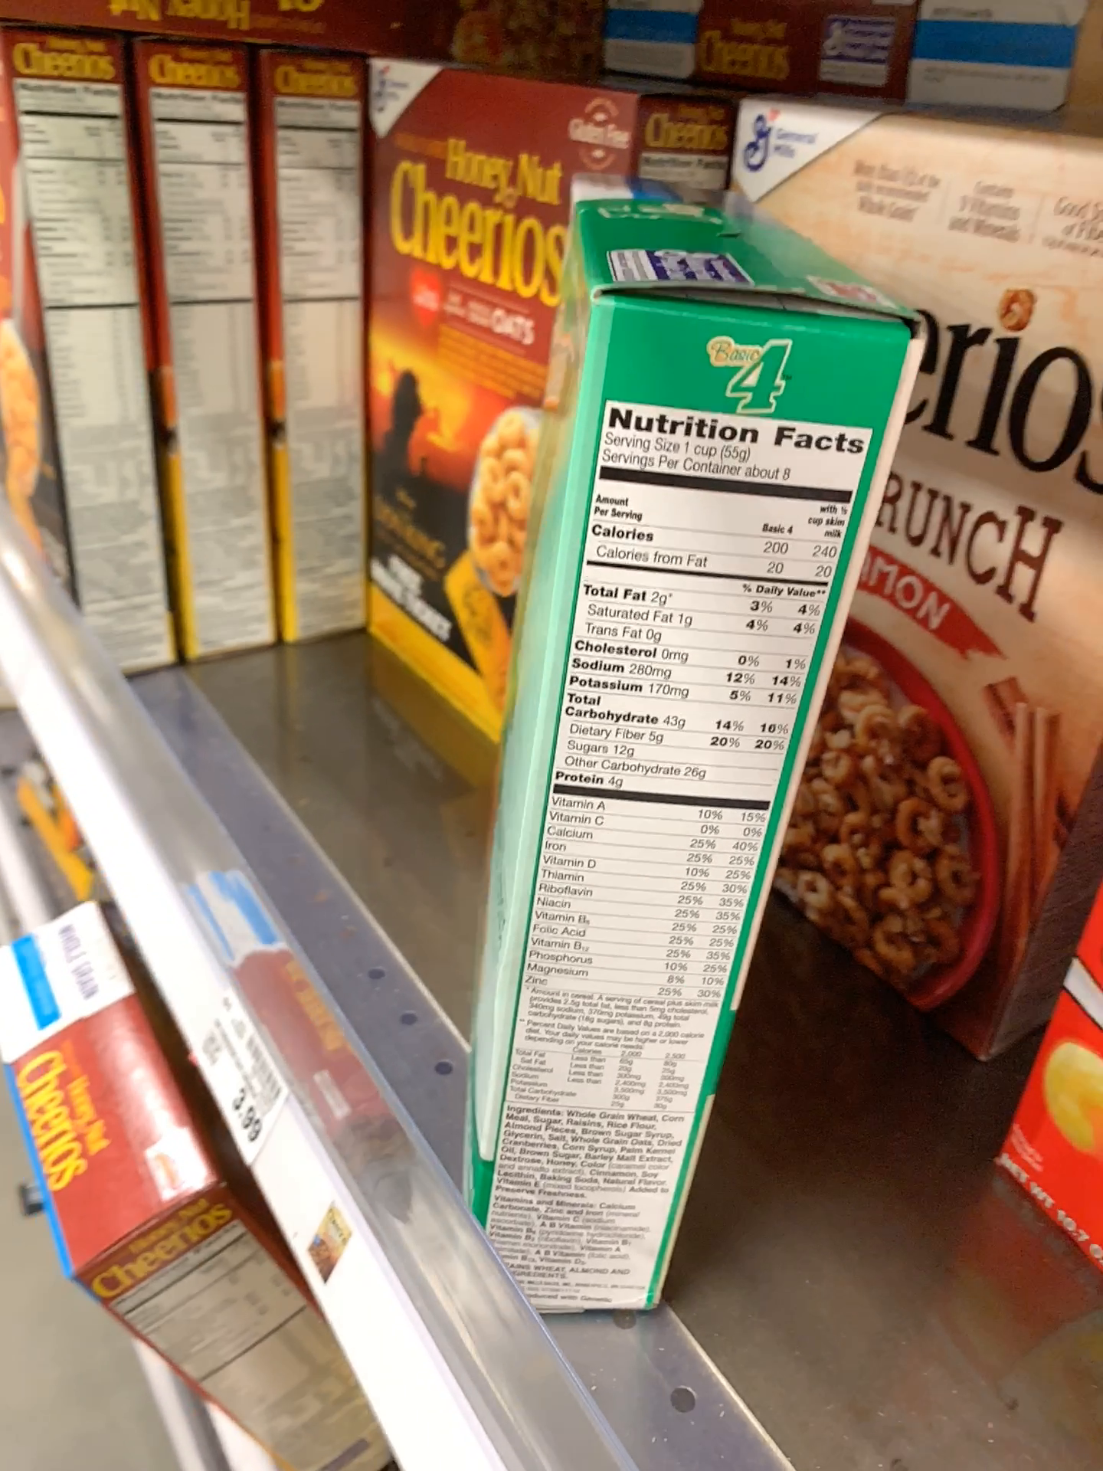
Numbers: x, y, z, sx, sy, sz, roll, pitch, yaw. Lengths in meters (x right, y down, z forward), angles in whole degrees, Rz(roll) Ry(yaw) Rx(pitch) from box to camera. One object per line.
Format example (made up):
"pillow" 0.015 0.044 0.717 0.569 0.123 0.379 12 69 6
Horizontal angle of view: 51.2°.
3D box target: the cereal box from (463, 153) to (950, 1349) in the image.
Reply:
"cereal box" 0.017 -0.006 0.317 0.050 0.259 0.201 6 30 -4
